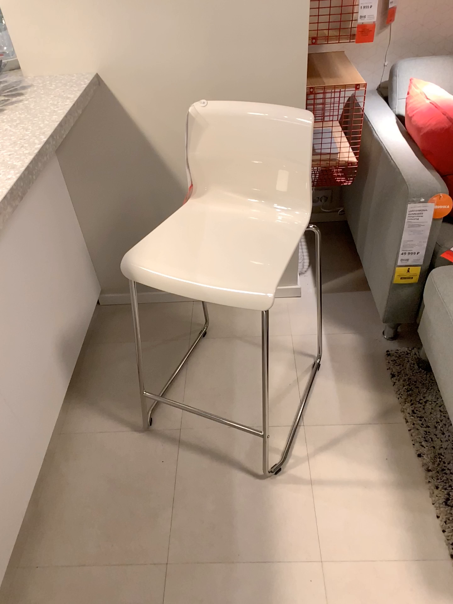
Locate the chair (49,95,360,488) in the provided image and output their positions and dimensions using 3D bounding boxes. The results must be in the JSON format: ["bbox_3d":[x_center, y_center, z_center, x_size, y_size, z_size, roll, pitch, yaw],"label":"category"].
[{"bbox_3d":[0.009,-0.022,1.343,0.510,0.905,0.543,15,45,22],"label":"chair"}]
